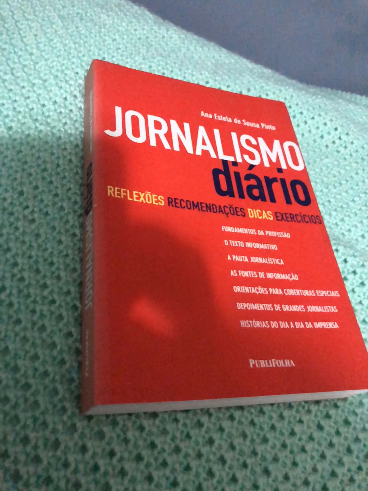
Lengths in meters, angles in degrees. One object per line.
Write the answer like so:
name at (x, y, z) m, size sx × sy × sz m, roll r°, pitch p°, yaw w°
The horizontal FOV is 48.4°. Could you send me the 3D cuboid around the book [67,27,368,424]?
book at (0.015, -0.031, 0.258) m, size 0.160 × 0.030 × 0.251 m, roll 4°, pitch 58°, yaw -18°
